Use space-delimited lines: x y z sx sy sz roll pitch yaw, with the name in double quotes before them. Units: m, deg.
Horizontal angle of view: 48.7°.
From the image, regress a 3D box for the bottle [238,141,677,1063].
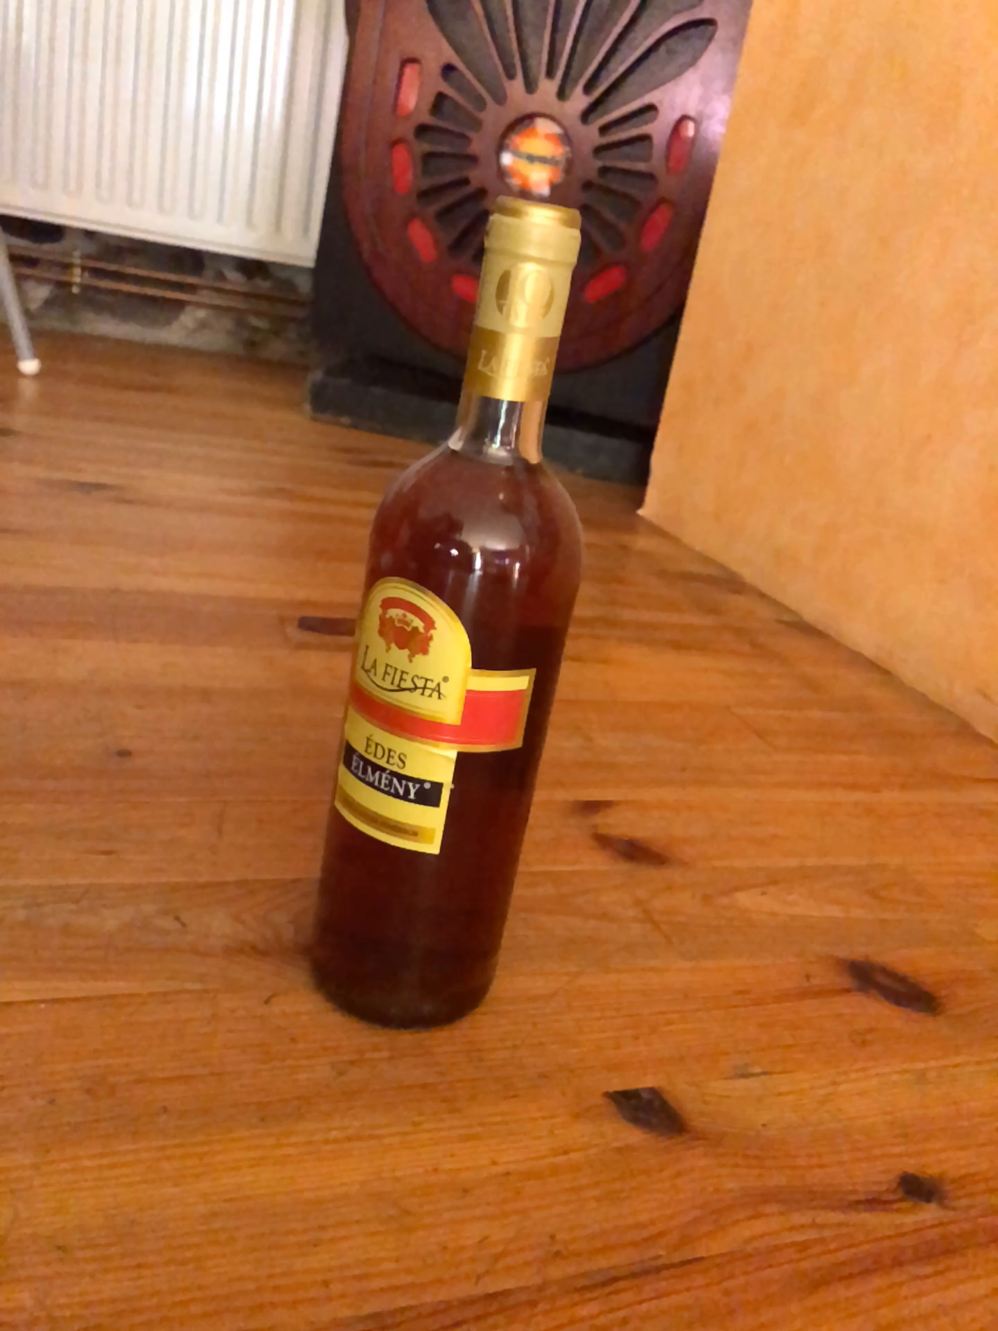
"bottle" -0.021 -0.016 0.388 0.080 0.289 0.080 9 19 -3
